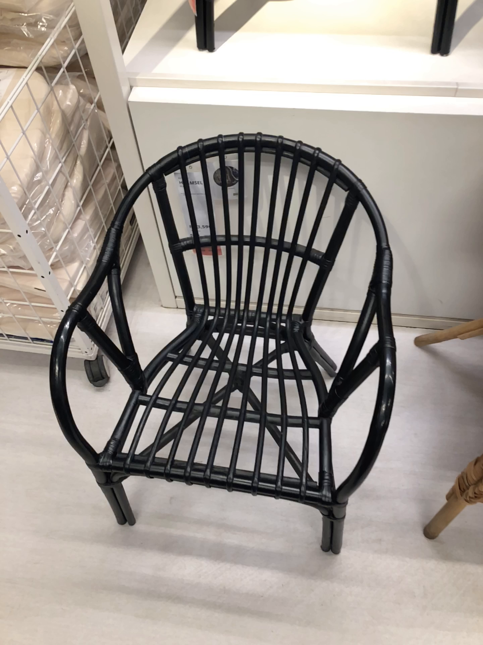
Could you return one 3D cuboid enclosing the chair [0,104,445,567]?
[{"bbox_3d":[-0.023,0.089,0.985,0.550,0.756,0.472,6,56,7],"label":"chair"}]
